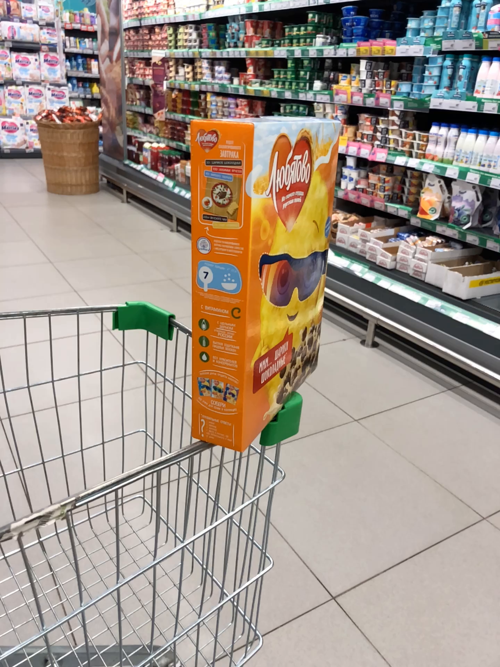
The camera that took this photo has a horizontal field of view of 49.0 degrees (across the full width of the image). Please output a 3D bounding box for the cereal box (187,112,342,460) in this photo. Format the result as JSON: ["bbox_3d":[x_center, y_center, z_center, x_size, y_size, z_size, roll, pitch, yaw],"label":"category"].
[{"bbox_3d":[0.017,-0.055,0.493,0.050,0.259,0.201,12,23,22],"label":"cereal box"}]
